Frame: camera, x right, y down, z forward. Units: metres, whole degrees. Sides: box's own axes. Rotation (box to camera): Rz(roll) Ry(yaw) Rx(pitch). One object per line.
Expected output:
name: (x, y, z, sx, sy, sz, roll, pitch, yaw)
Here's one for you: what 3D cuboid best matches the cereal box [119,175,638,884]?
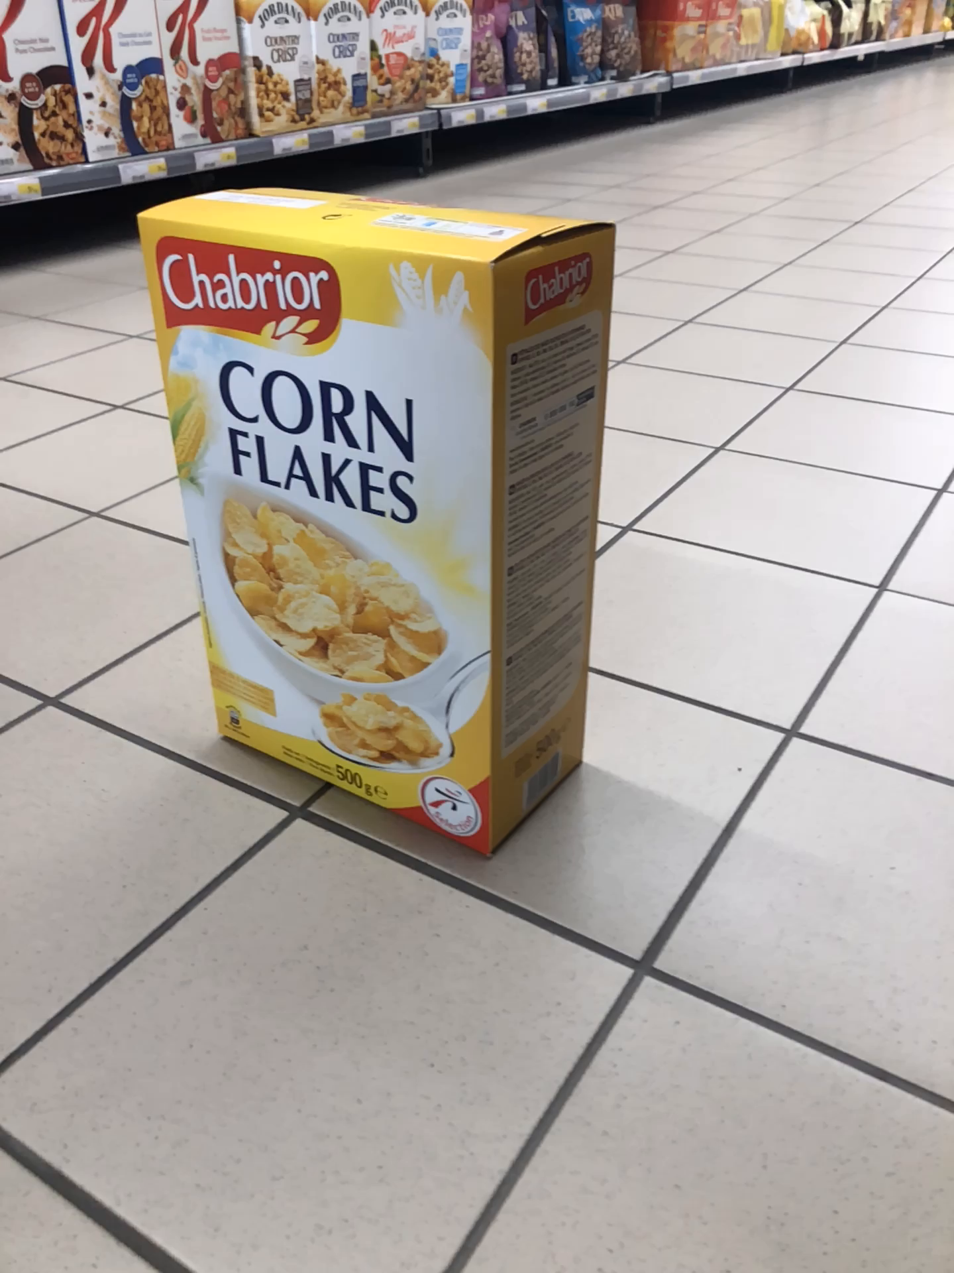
cereal box: (-0.044, -0.061, 0.545, 0.210, 0.308, 0.111, 18, 35, 30)
